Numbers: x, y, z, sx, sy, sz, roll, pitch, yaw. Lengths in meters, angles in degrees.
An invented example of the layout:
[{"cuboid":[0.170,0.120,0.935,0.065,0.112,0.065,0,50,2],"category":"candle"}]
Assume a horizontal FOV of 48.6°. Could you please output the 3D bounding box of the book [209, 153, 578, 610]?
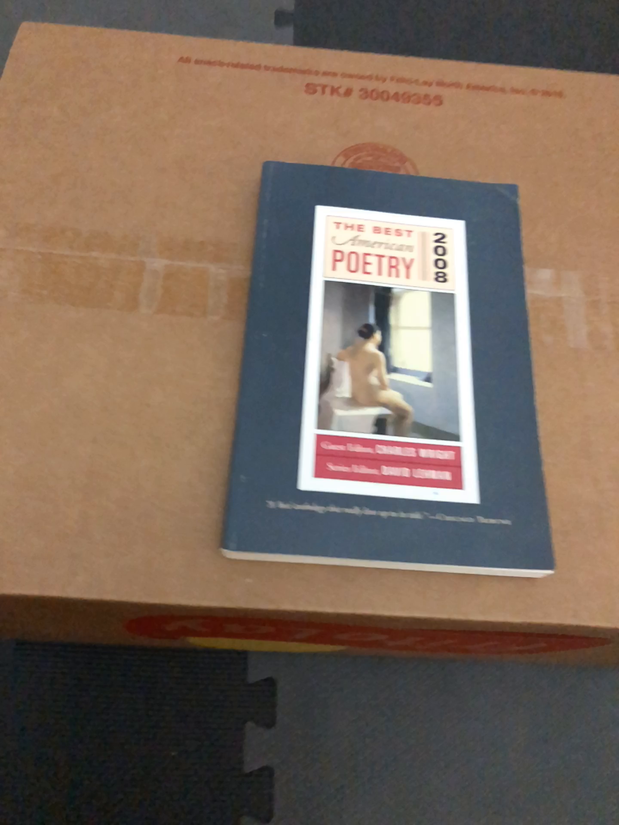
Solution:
[{"cuboid":[0.038,-0.027,0.334,0.150,0.020,0.231,3,65,-3],"category":"book"}]
